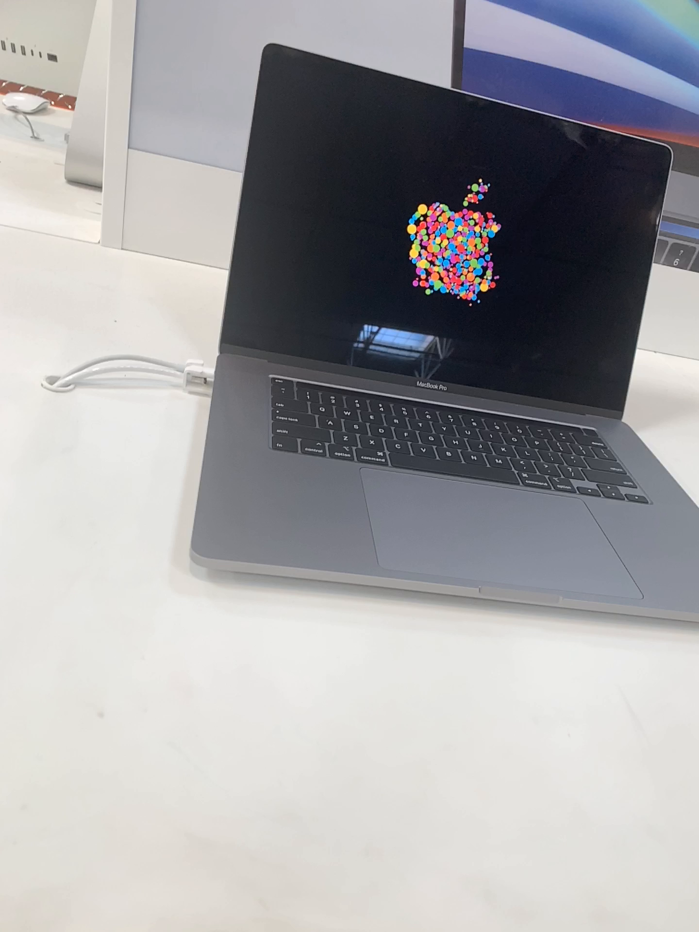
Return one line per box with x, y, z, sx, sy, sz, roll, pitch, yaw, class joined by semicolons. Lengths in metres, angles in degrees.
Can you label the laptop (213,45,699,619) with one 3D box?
0.105;-0.111;0.474;0.341;0.203;0.347;8;31;-12;laptop
